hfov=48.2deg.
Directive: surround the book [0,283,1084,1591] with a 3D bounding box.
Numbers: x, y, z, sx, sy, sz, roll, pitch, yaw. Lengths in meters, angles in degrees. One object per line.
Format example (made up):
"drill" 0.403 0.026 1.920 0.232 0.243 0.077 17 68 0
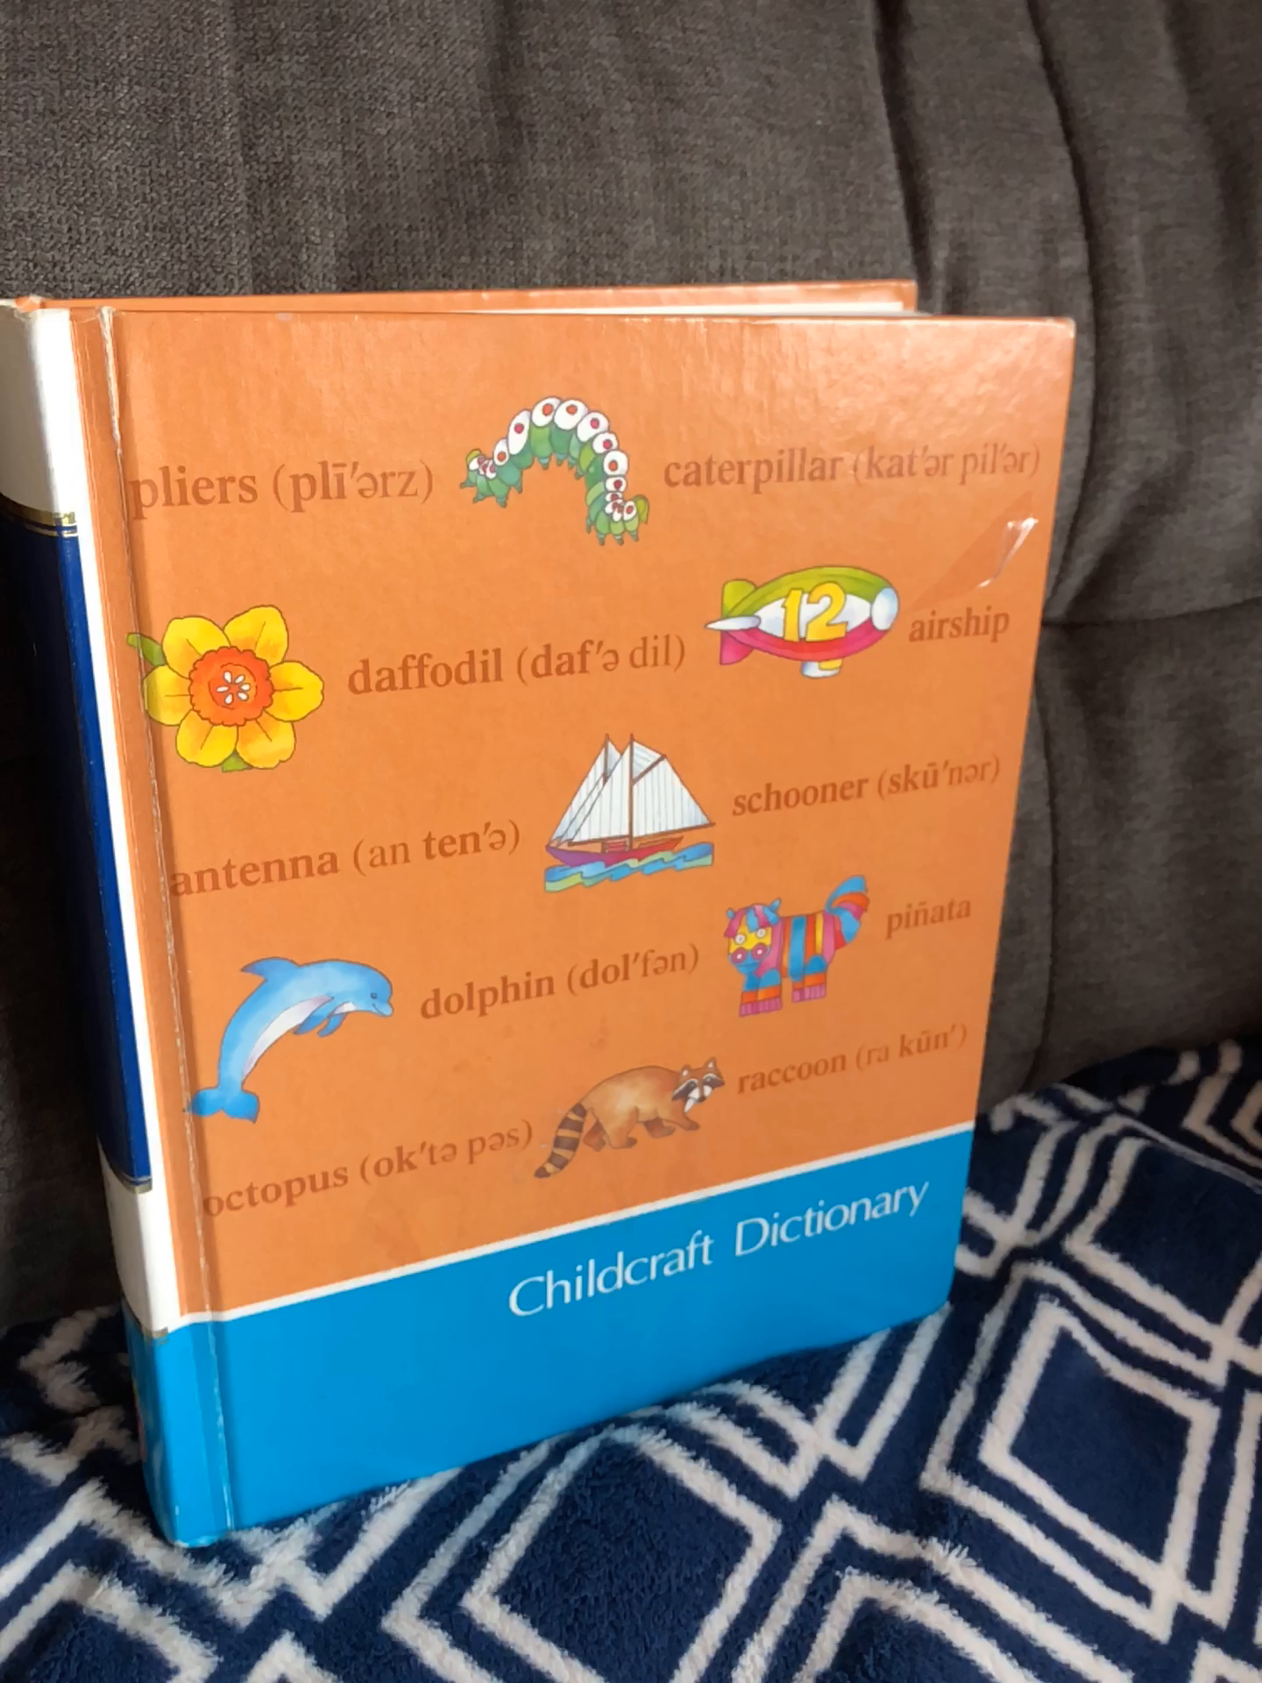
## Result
"book" -0.017 0.016 0.318 0.210 0.260 0.055 -9 24 -23
